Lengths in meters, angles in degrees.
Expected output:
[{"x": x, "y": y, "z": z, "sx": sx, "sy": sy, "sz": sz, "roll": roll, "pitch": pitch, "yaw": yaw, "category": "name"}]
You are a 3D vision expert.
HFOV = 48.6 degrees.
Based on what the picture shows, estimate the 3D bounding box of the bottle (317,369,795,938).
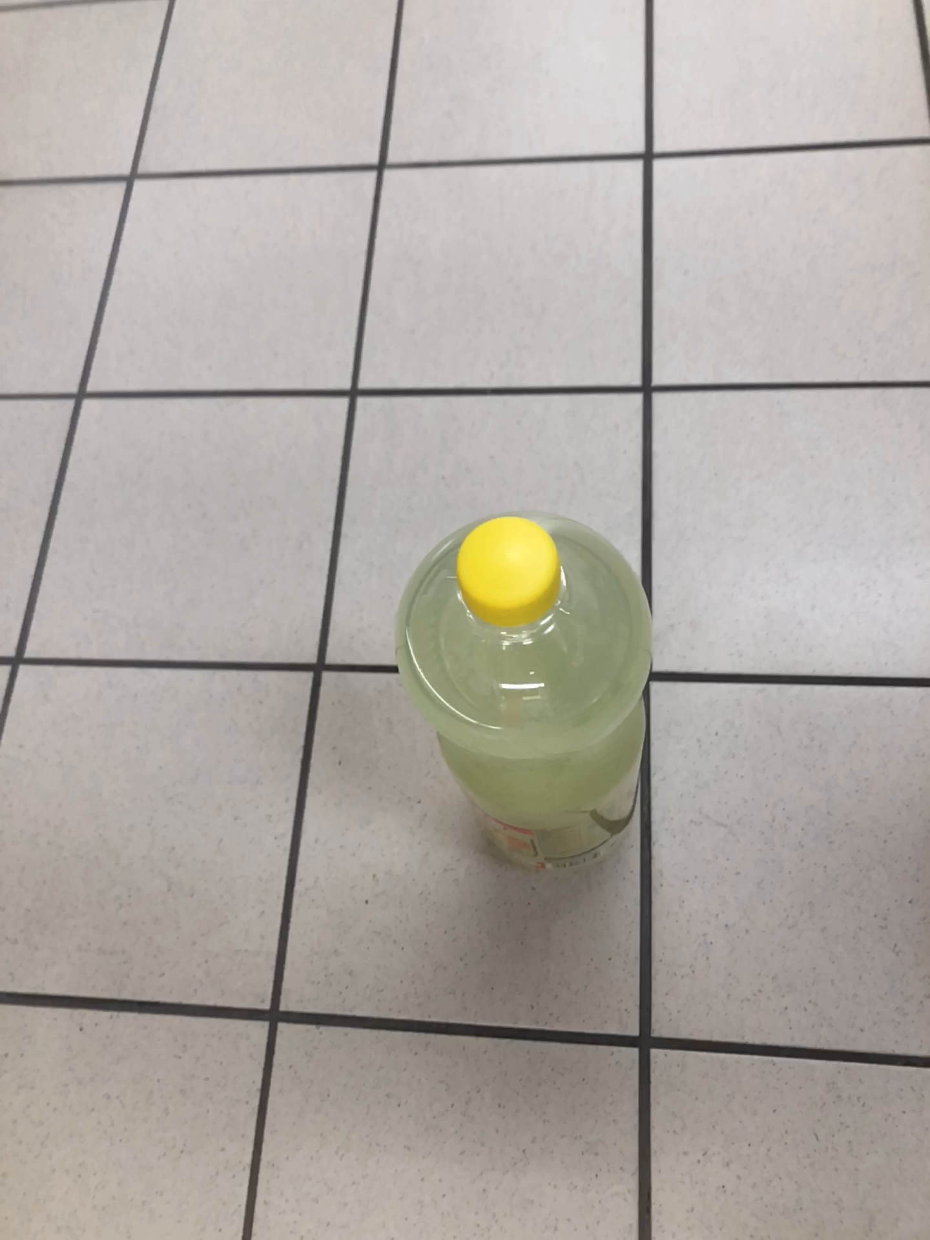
[{"x": 0.039, "y": 0.045, "z": 0.422, "sx": 0.100, "sy": 0.299, "sz": 0.110, "roll": -20, "pitch": 67, "yaw": -1, "category": "bottle"}]
